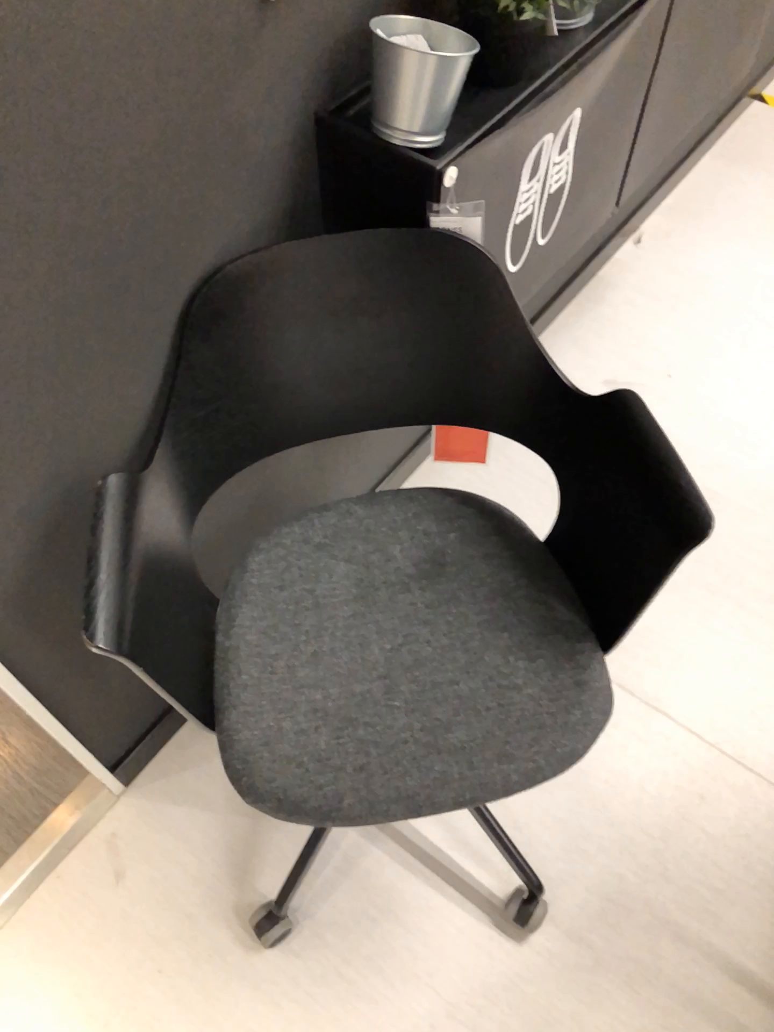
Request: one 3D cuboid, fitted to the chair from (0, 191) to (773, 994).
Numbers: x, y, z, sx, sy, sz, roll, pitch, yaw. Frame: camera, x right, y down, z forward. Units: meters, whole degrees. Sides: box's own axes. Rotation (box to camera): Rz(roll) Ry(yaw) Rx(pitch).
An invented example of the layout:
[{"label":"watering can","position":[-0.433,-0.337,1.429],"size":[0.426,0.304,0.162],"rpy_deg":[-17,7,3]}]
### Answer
[{"label":"chair","position":[0.019,0.159,0.964],"size":[0.660,0.756,0.563],"rpy_deg":[-5,57,-2]}]
